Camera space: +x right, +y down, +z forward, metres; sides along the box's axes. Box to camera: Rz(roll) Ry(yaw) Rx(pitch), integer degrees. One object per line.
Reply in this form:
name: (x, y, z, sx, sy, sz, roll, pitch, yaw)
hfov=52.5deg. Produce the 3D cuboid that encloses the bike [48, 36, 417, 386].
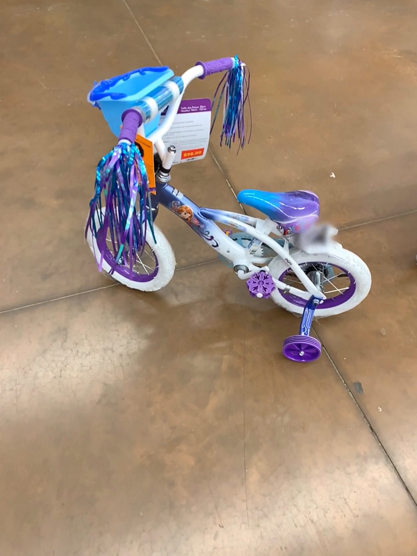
bike: (0.118, -0.118, 1.032, 0.651, 0.643, 0.474, 7, 52, 2)
